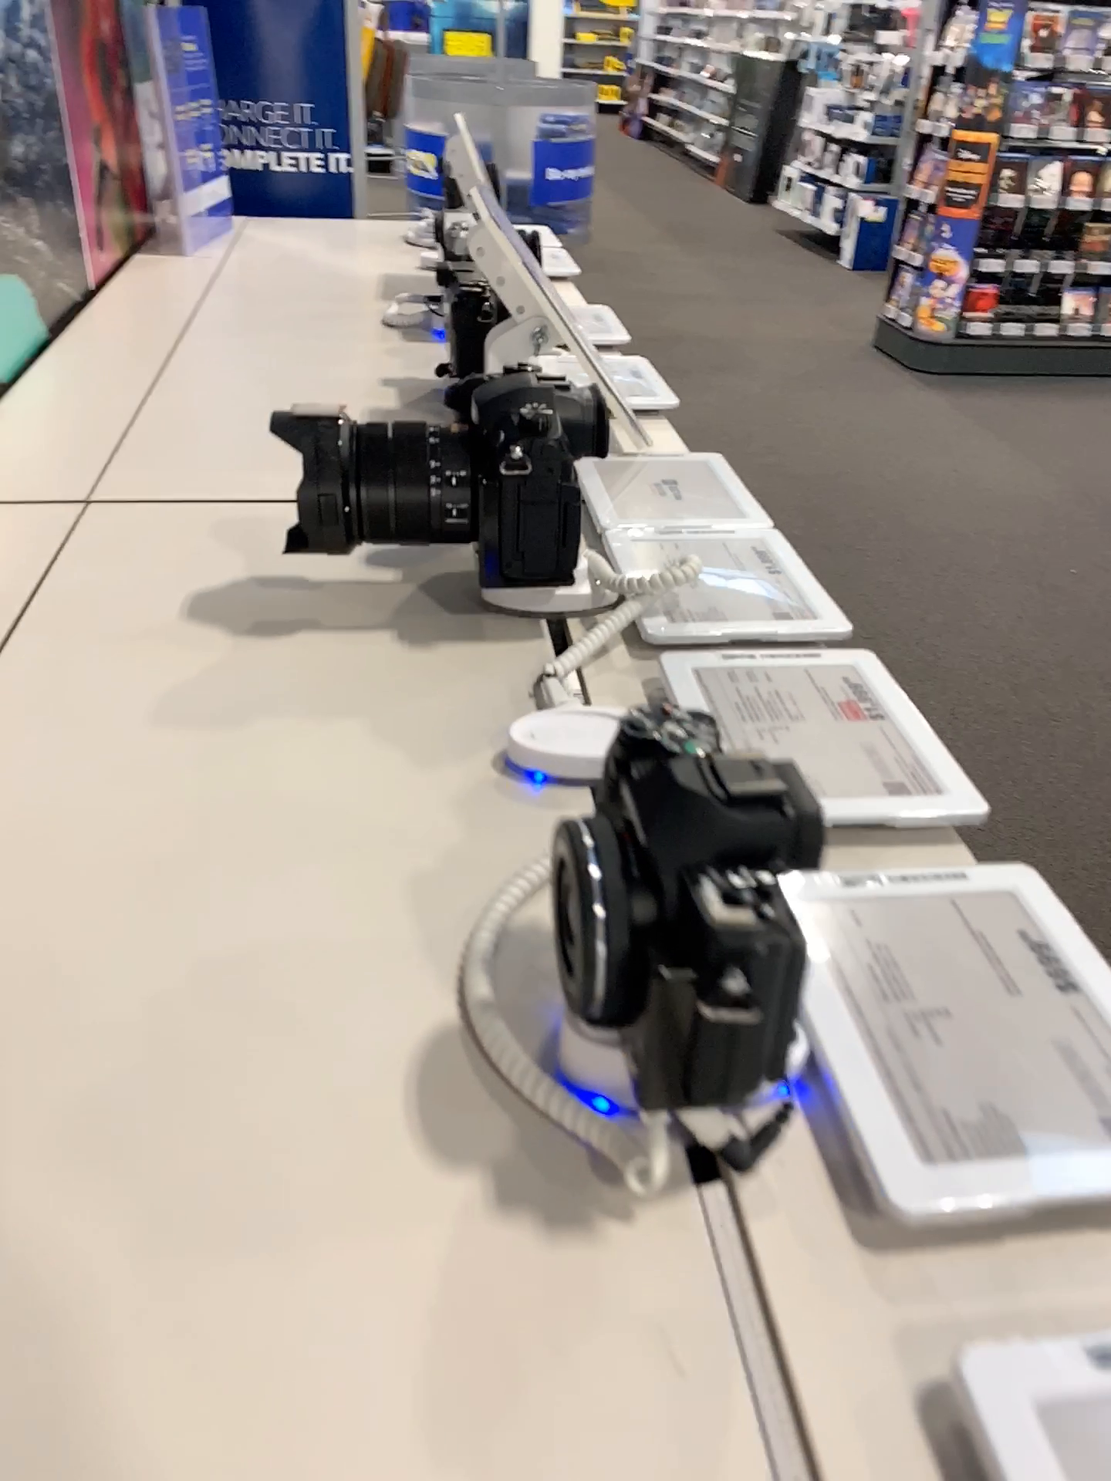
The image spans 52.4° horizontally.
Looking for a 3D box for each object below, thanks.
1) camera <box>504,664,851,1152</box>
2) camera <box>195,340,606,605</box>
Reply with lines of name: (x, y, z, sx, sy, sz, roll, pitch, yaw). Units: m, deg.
camera: (0.028, 0.044, 0.355, 0.070, 0.080, 0.131, -3, 34, -9)
camera: (-0.087, -0.157, 0.639, 0.200, 0.099, 0.141, -3, 34, -9)
